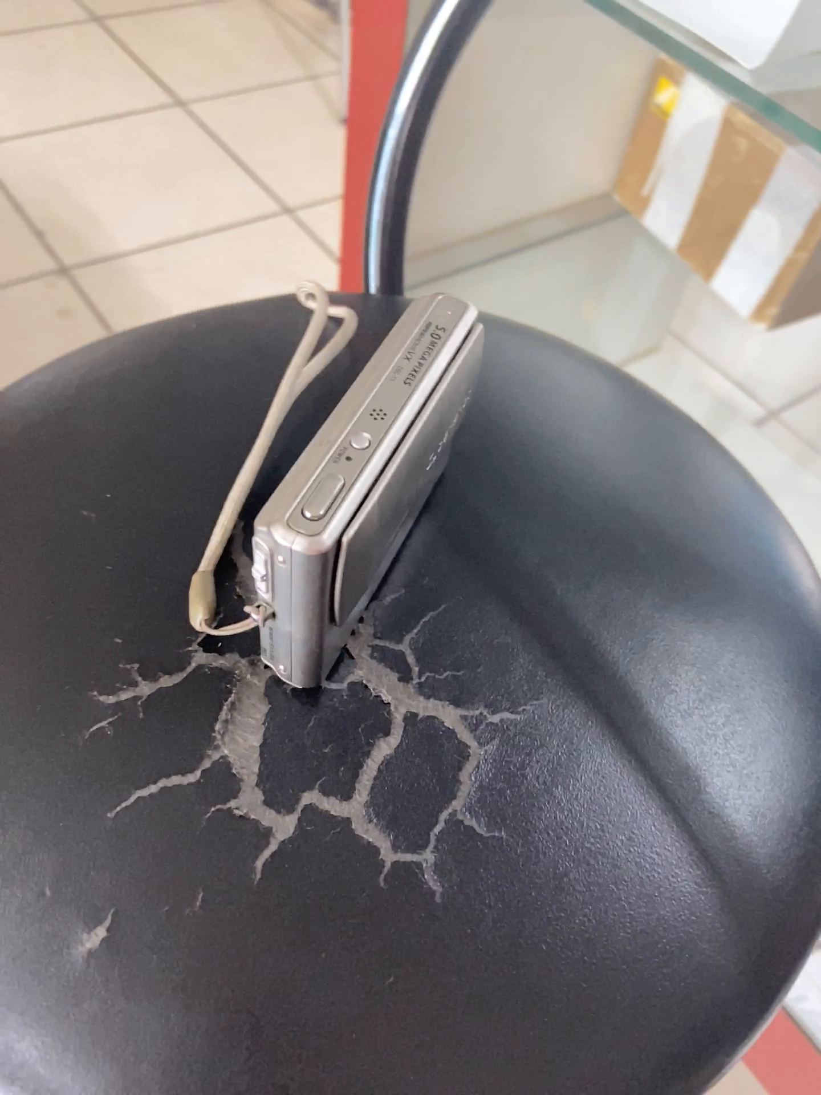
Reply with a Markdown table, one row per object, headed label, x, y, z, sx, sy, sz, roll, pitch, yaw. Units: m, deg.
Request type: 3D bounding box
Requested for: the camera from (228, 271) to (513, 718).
| label | x | y | z | sx | sy | sz | roll | pitch | yaw |
| --- | --- | --- | --- | --- | --- | --- | --- | --- | --- |
| camera | -0.008 | -0.016 | 0.225 | 0.030 | 0.060 | 0.101 | 21 | 52 | 8 |
